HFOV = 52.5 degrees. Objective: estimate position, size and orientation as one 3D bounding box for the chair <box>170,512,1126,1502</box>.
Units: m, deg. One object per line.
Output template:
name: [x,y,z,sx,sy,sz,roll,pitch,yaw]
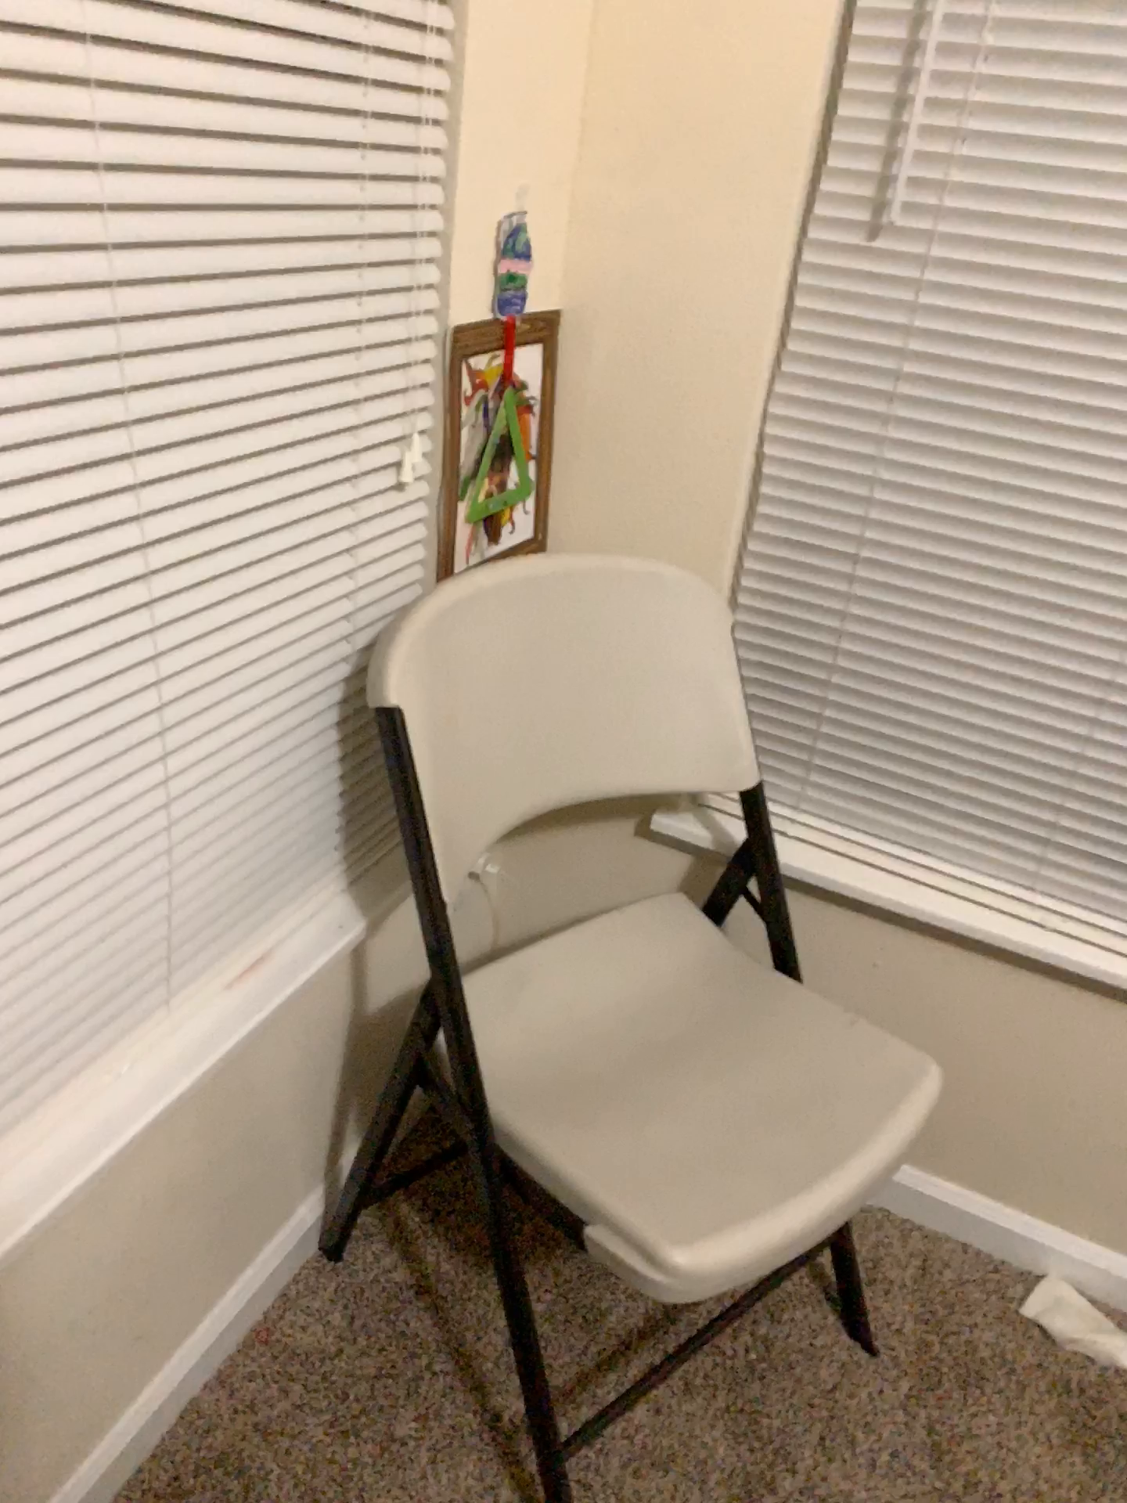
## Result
chair: [0.040,0.267,1.207,0.611,0.816,0.682,-16,34,-39]
